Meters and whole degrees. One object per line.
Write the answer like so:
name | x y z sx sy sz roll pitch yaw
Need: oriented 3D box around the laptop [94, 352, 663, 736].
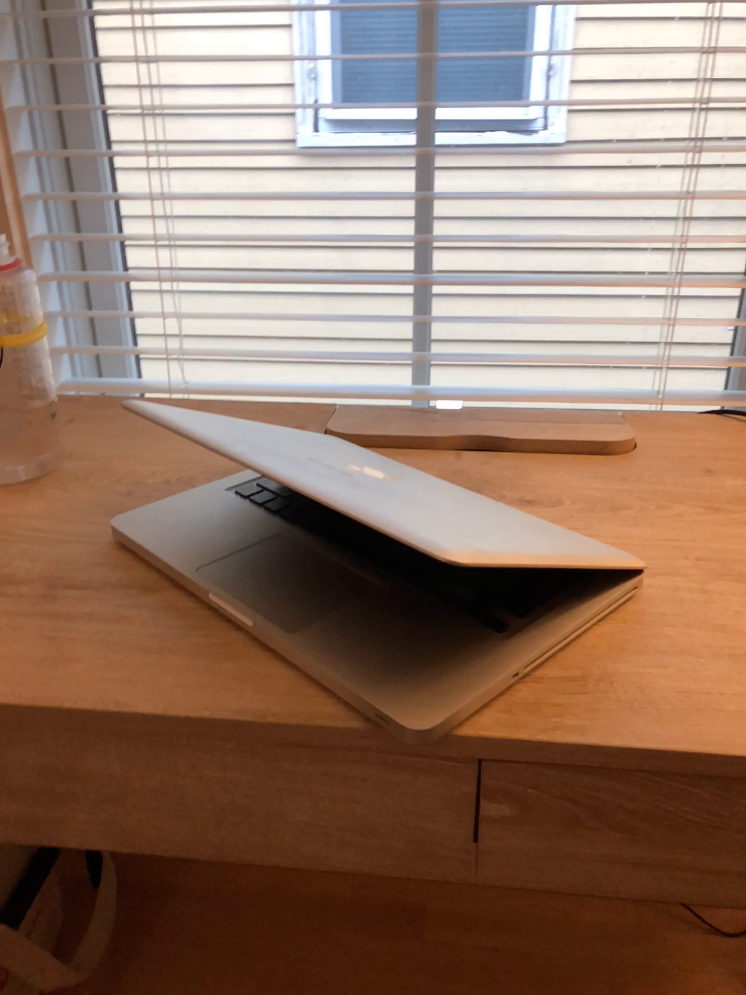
laptop | -0.008 -0.005 0.566 0.229 0.089 0.319 -22 33 -38
